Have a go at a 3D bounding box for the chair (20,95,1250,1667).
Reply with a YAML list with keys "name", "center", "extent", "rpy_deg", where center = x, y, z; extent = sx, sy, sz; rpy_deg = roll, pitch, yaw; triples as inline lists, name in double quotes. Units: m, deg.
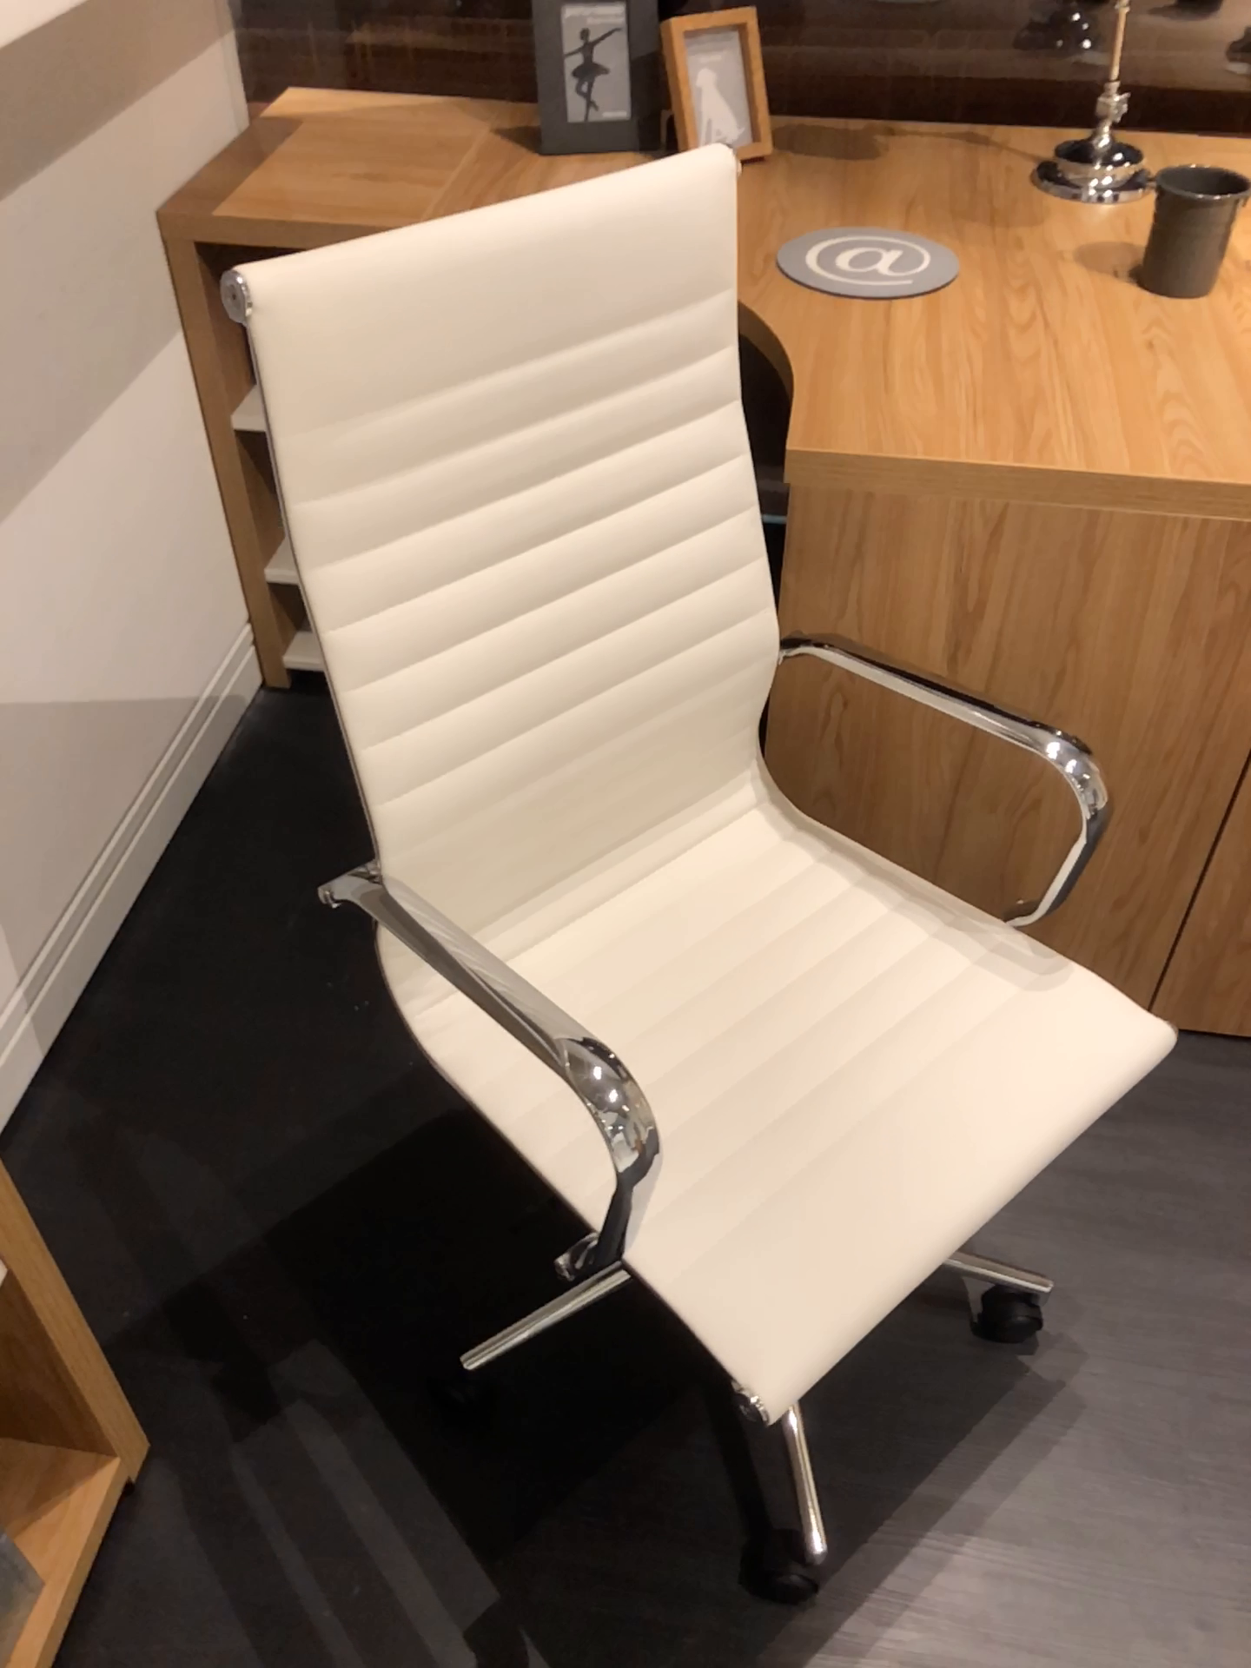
- name: "chair"
  center: [0.080, 0.067, 1.151]
  extent: [0.632, 1.012, 0.633]
  rpy_deg: [-31, 51, -29]
